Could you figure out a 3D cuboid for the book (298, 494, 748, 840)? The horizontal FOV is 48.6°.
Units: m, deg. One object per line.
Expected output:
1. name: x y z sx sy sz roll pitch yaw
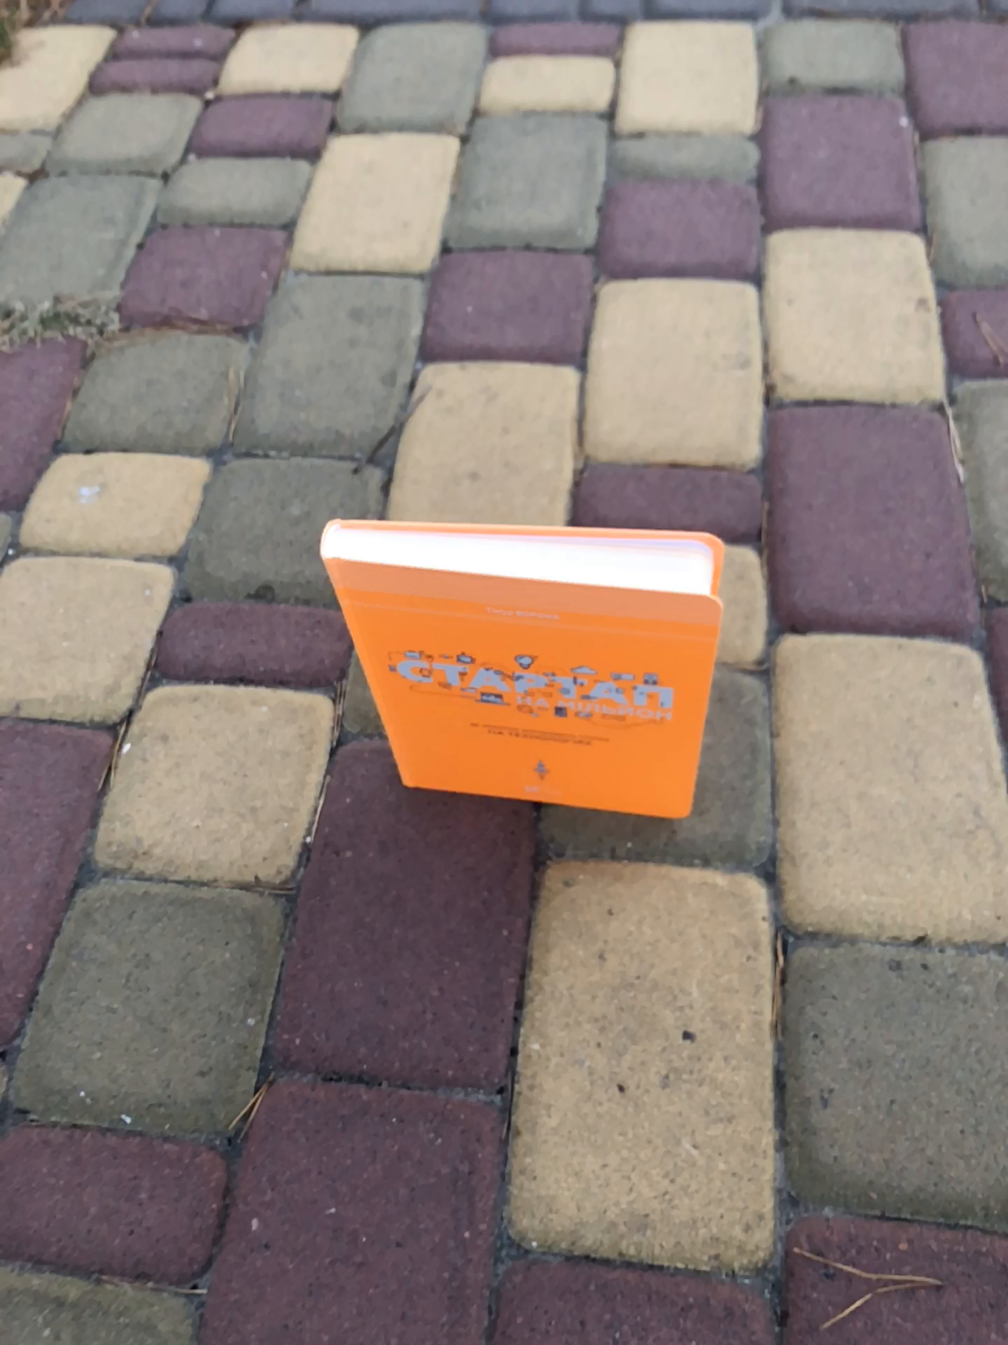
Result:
1. book: 0.015 0.007 0.501 0.164 0.201 0.040 6 59 9
